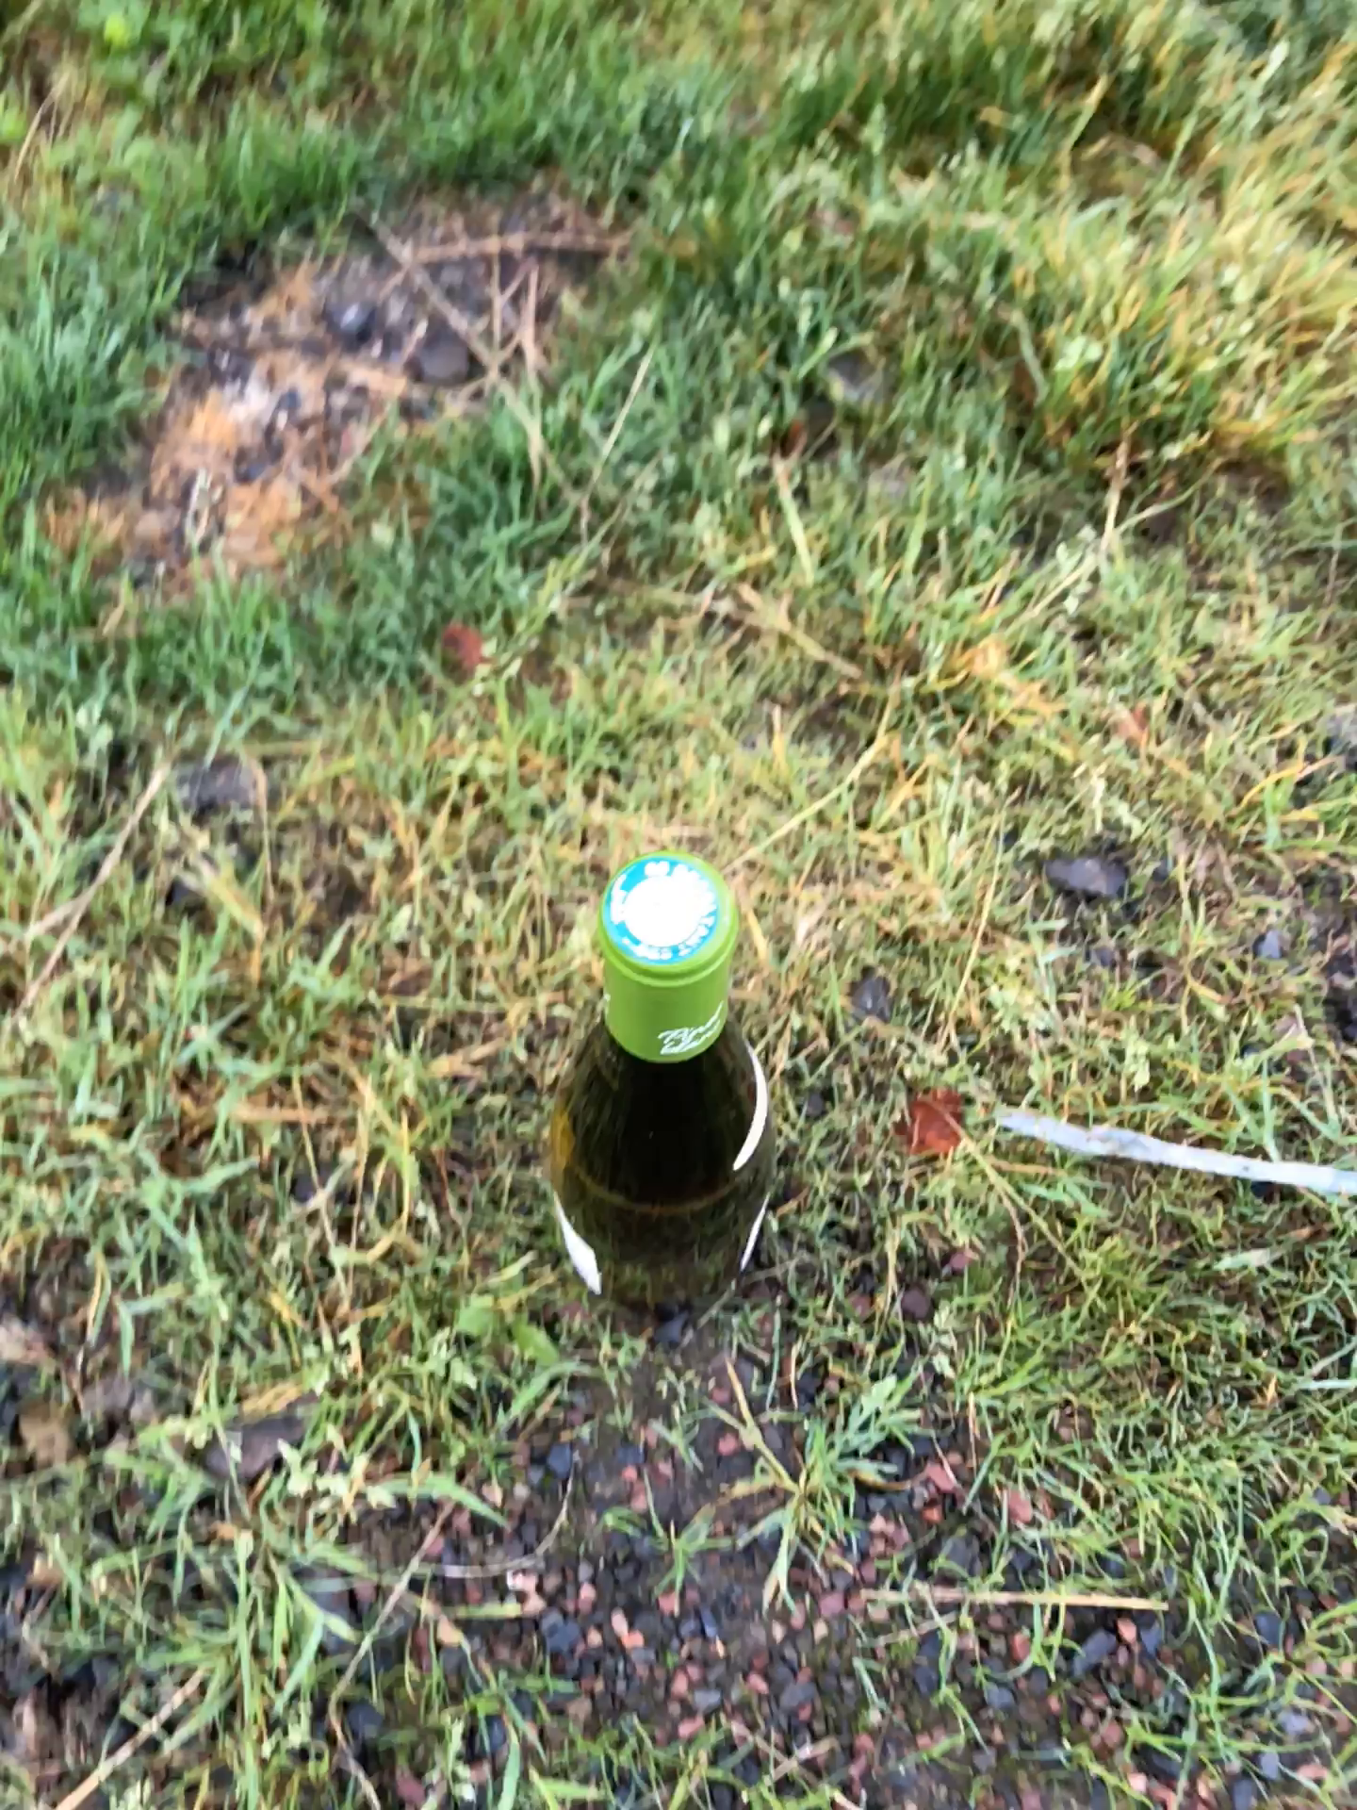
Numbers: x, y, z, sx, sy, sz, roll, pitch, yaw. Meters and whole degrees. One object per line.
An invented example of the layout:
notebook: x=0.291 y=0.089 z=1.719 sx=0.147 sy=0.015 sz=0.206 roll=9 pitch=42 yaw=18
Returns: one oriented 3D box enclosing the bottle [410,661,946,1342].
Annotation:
bottle: x=0.000 y=0.058 z=0.463 sx=0.090 sy=0.319 sz=0.090 roll=0 pitch=68 yaw=1
